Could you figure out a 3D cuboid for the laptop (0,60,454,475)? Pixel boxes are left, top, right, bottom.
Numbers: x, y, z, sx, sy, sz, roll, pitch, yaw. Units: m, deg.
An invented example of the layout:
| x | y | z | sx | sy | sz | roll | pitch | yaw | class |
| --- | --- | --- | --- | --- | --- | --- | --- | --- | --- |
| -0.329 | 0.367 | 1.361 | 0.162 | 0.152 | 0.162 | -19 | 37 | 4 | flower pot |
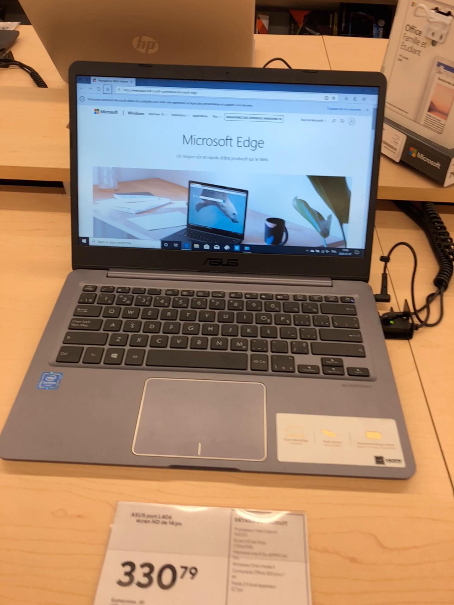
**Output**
| x | y | z | sx | sy | sz | roll | pitch | yaw | class |
| --- | --- | --- | --- | --- | --- | --- | --- | --- | --- |
| -0.008 | -0.055 | 0.438 | 0.309 | 0.173 | 0.328 | 3 | 45 | 1 | laptop |
